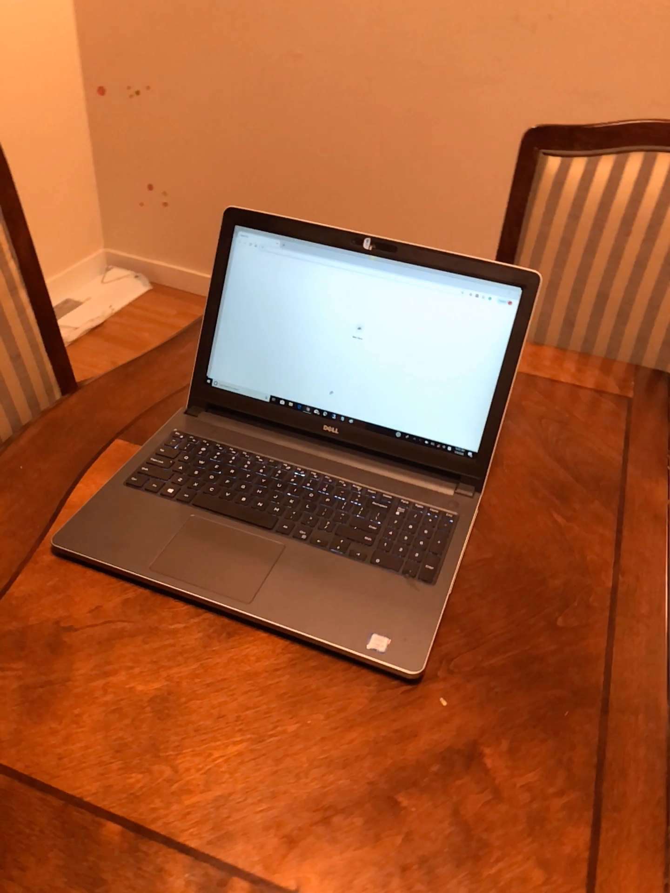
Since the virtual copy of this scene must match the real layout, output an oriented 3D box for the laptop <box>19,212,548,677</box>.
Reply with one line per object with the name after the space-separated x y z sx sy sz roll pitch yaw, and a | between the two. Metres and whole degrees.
-0.022 -0.040 0.736 0.369 0.212 0.361 16 39 15 | laptop
